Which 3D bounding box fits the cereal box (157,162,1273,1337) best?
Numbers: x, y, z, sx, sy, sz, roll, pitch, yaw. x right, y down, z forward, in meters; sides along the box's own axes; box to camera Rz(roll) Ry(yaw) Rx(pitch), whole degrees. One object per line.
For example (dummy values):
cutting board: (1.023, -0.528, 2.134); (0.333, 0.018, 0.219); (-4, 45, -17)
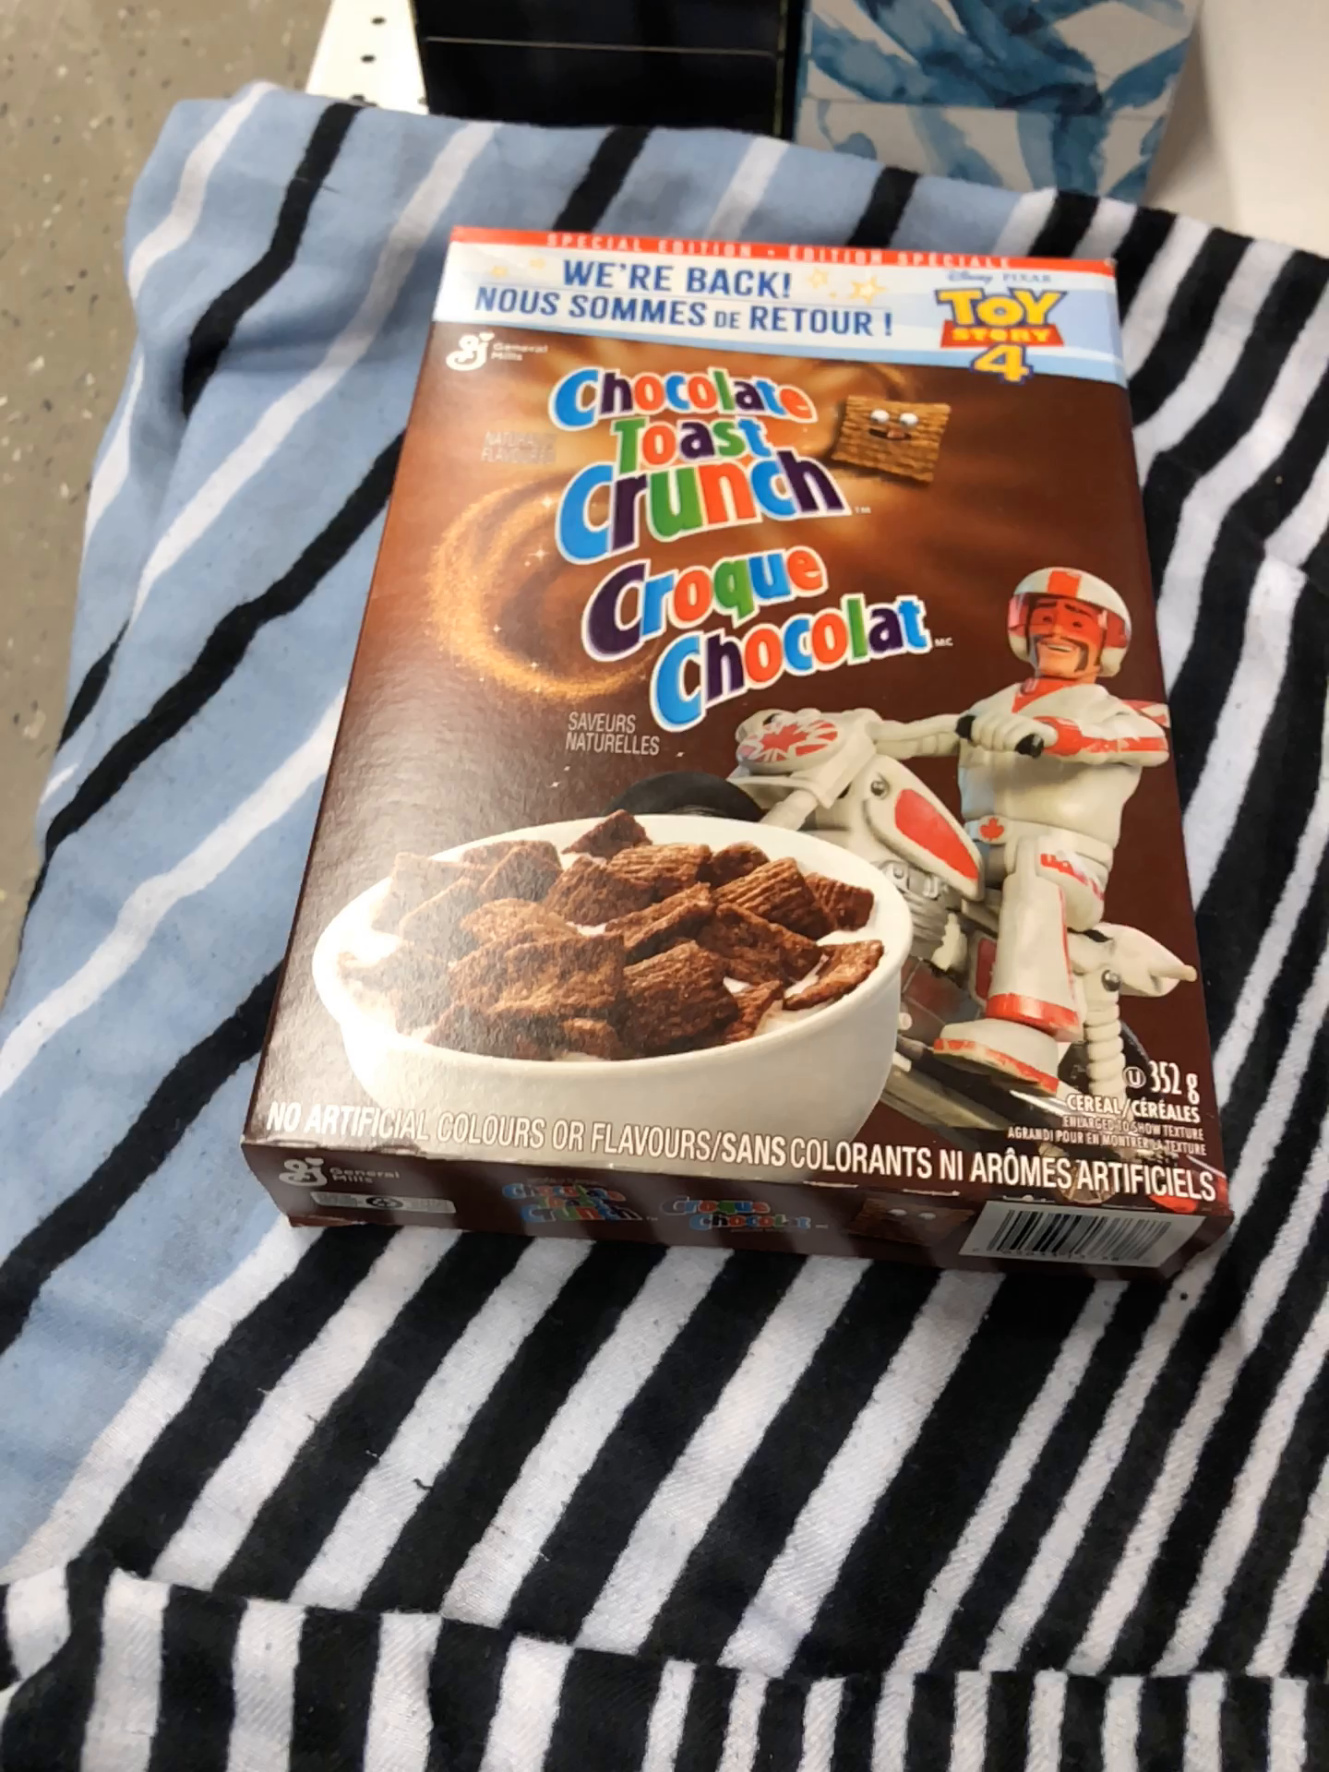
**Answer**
cereal box: (0.019, -0.053, 0.376); (0.210, 0.060, 0.301); (4, 62, 1)
